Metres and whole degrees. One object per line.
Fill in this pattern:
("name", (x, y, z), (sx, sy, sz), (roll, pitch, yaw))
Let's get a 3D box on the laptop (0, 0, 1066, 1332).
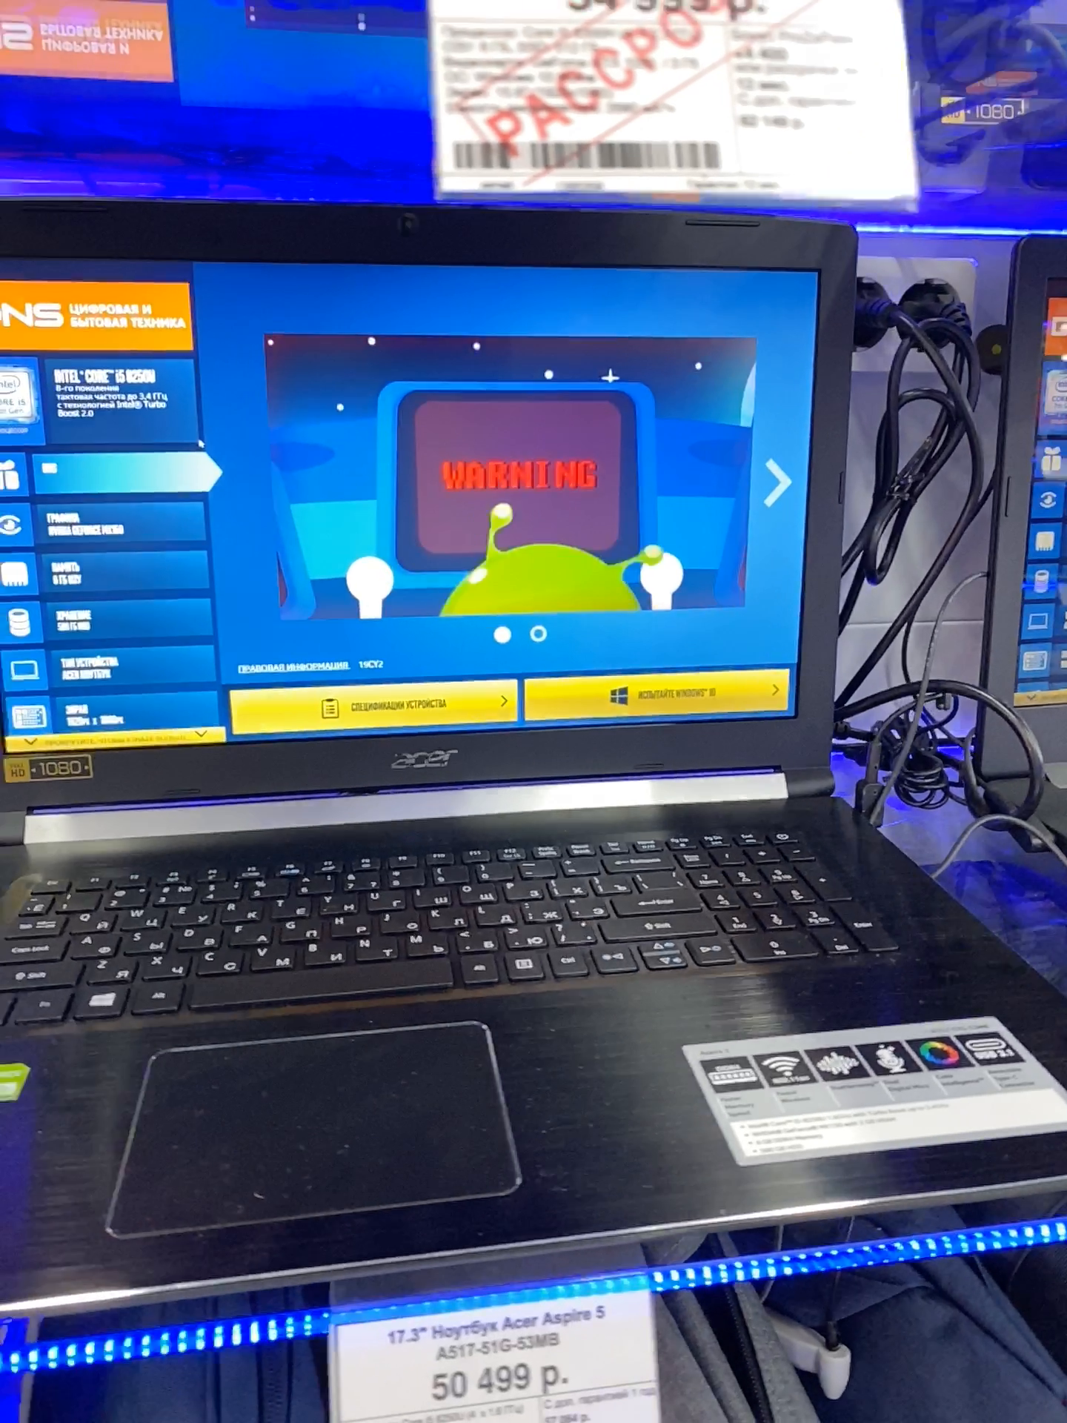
("laptop", (-0.034, -0.046, 0.387), (0.424, 0.278, 0.312), (-2, 17, -9))
